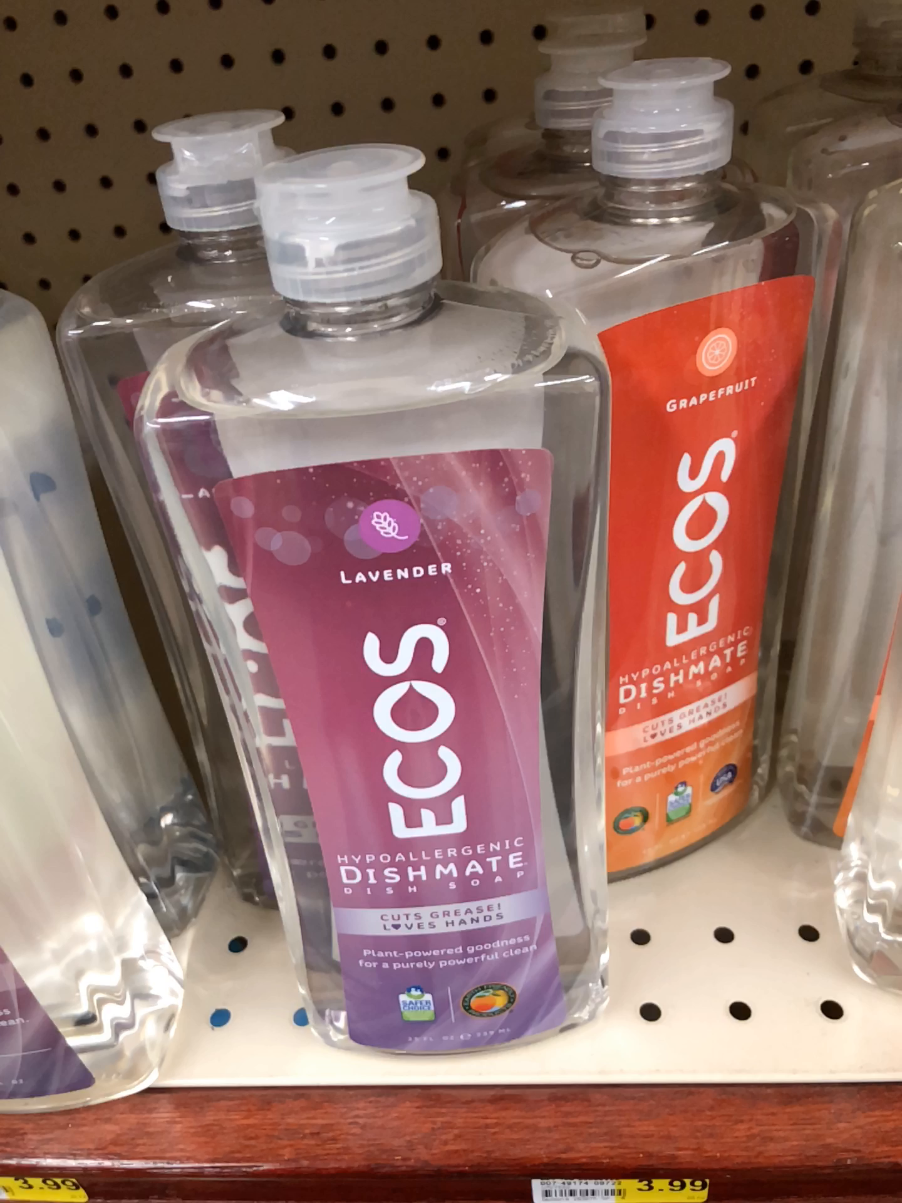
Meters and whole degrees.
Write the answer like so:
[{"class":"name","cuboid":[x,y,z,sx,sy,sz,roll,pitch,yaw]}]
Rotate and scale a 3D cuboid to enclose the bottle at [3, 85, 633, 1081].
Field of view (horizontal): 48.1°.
[{"class":"bottle","cuboid":[-0.010,0.023,0.235,0.090,0.243,0.048,-5,37,2]}]
